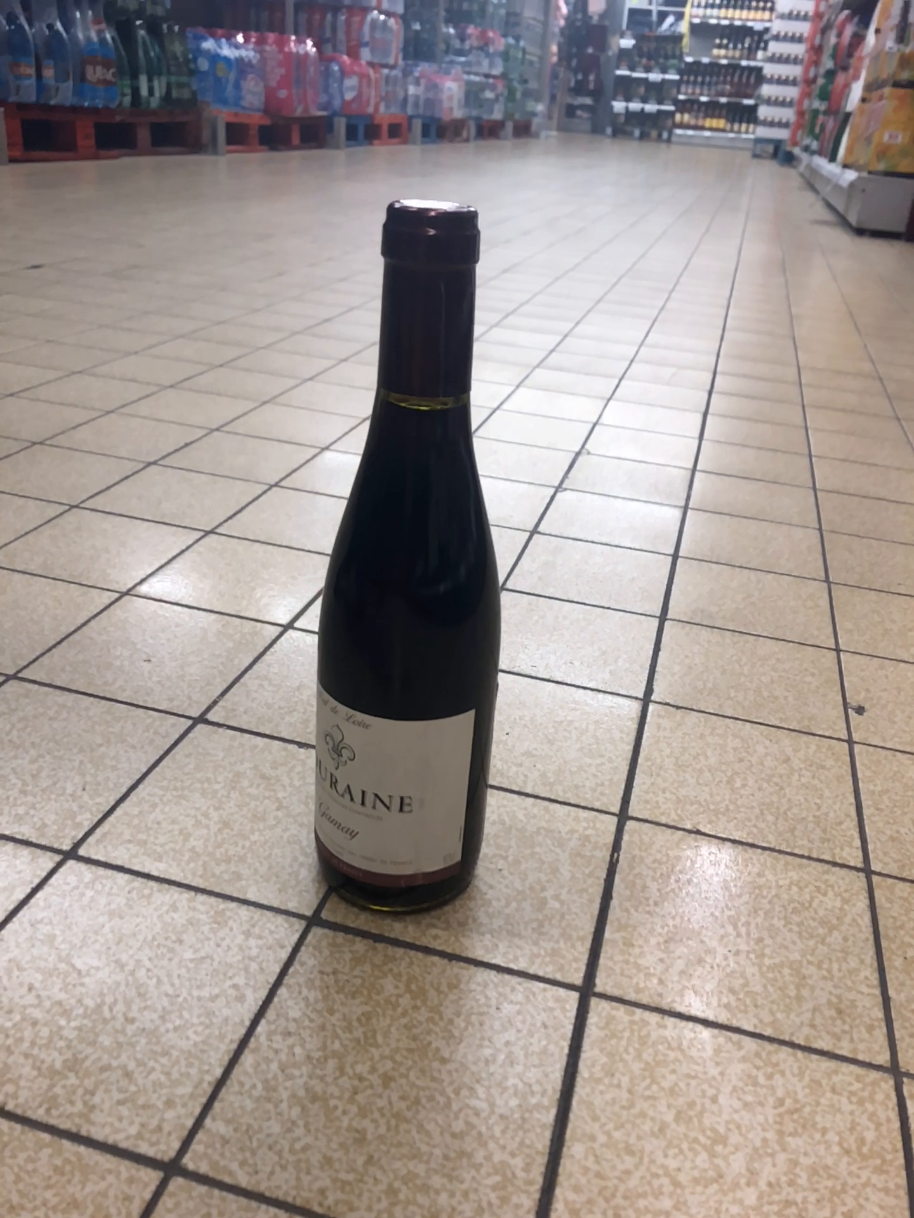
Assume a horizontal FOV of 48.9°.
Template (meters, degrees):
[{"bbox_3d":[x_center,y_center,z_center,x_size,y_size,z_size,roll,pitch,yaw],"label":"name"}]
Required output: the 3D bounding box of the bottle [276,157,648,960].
[{"bbox_3d":[-0.009,-0.014,0.331,0.070,0.239,0.080,-14,31,-34],"label":"bottle"}]
